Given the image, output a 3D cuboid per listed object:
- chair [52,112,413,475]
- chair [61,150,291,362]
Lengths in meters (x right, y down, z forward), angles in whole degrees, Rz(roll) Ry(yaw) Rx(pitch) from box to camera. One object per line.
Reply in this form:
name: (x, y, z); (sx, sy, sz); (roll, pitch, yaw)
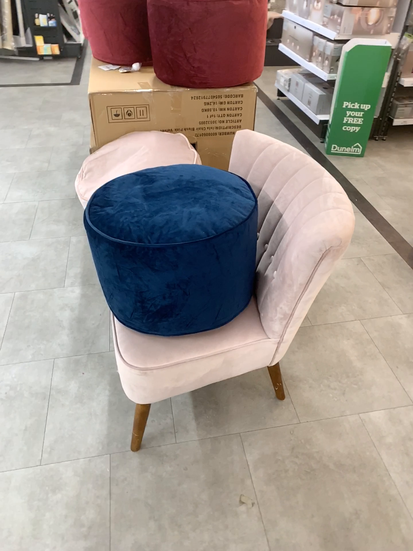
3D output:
chair: (0.014, 0.037, 1.340); (0.744, 0.848, 0.661); (-6, 39, -9)
chair: (-0.095, -0.081, 1.217); (0.504, 0.363, 0.479); (-5, 39, -7)
